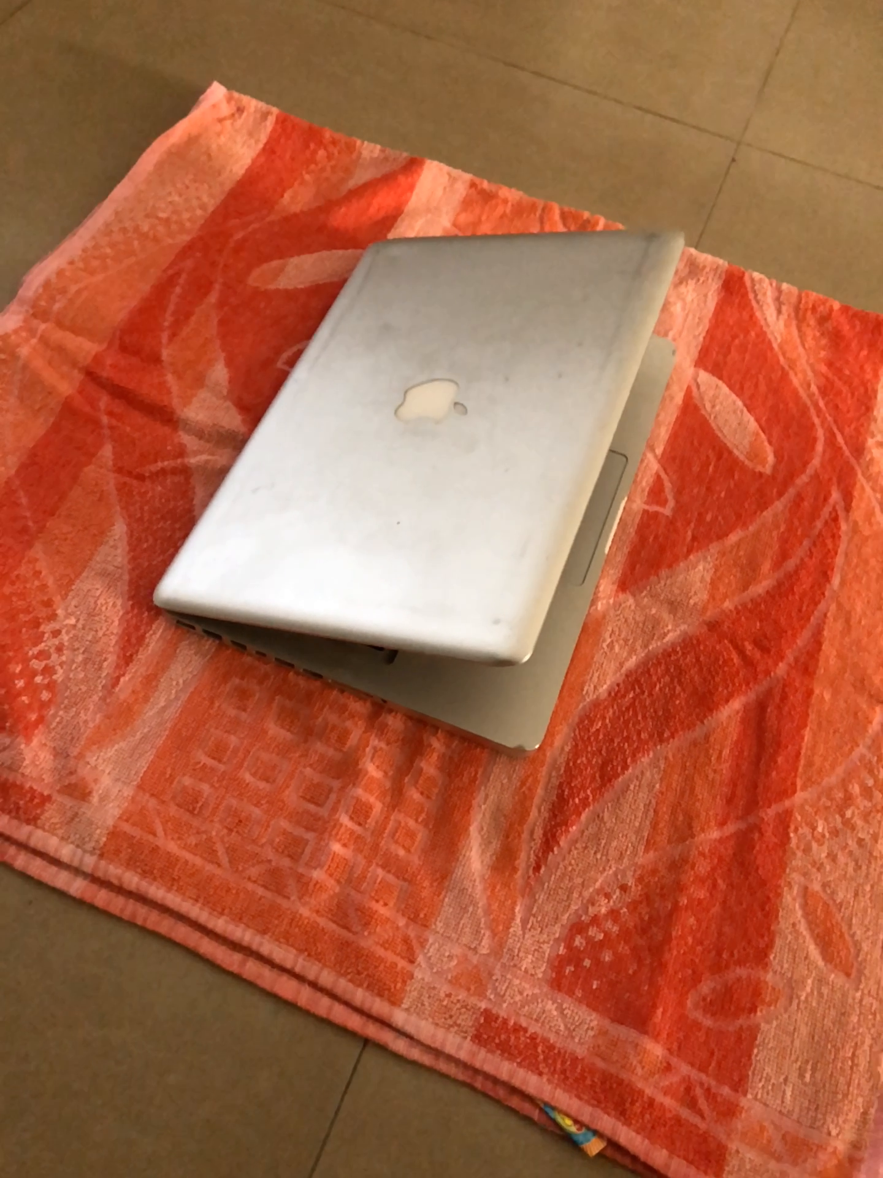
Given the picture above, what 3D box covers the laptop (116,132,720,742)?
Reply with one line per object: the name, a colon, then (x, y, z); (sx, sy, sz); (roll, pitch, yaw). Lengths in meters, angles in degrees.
laptop: (0.004, -0.104, 0.553); (0.222, 0.086, 0.311); (20, 59, 7)
